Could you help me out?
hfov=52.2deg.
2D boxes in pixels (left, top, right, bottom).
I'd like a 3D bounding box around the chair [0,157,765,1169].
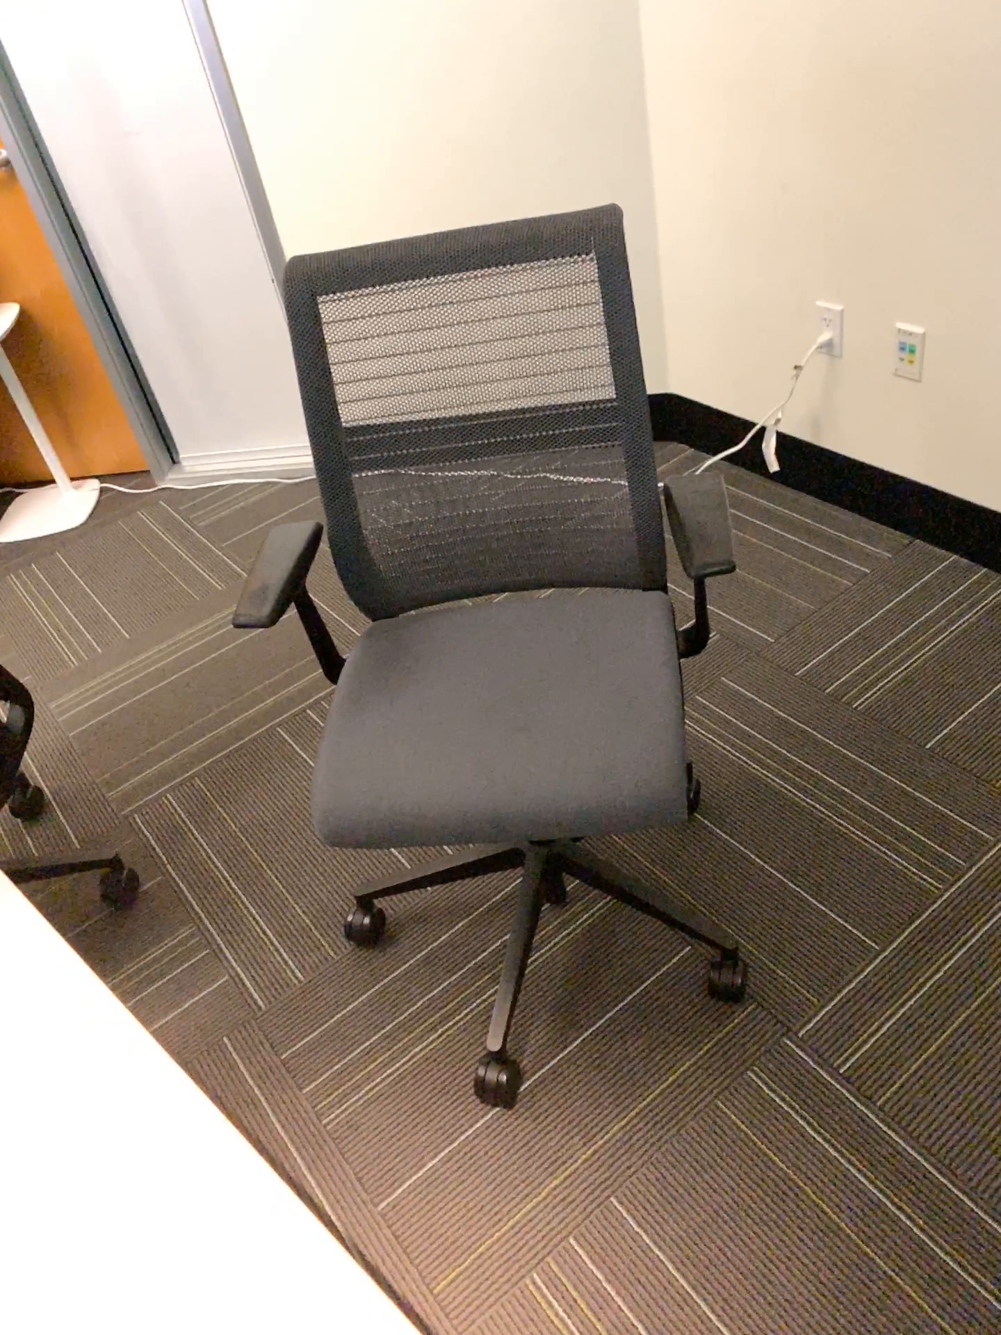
[{"bbox_3d":[-0.104,0.043,1.478,0.790,1.113,0.805,-8,40,7],"label":"chair"}]
